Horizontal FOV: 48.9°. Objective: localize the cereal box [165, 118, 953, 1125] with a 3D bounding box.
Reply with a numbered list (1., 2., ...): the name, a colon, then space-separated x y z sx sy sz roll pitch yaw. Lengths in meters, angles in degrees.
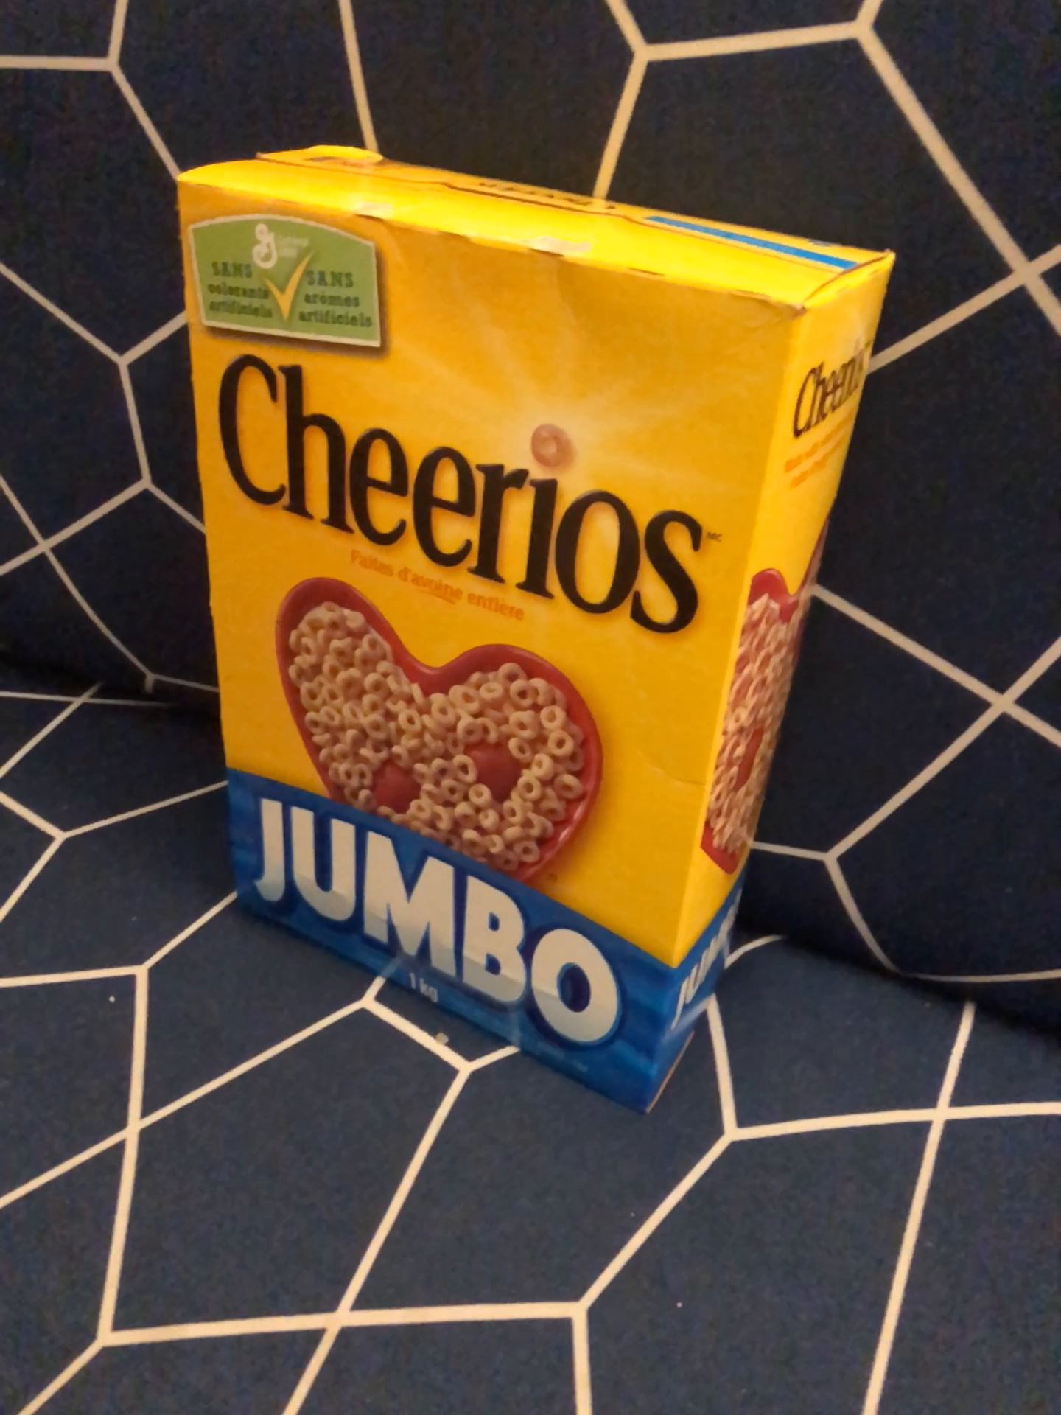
1. cereal box: -0.008 -0.027 0.404 0.211 0.288 0.080 21 35 22
